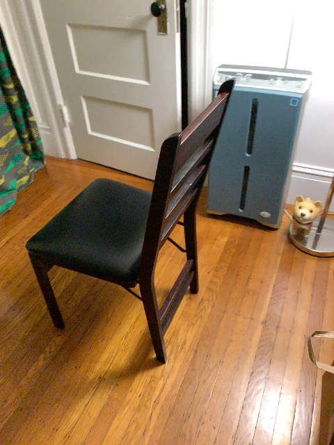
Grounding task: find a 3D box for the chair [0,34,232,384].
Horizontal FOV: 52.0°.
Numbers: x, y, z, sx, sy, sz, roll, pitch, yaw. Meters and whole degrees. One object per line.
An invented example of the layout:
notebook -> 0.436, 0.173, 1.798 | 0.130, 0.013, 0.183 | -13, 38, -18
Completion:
chair -> -0.165, -0.033, 1.061 | 0.551, 0.865, 0.492 | 13, 43, 19
